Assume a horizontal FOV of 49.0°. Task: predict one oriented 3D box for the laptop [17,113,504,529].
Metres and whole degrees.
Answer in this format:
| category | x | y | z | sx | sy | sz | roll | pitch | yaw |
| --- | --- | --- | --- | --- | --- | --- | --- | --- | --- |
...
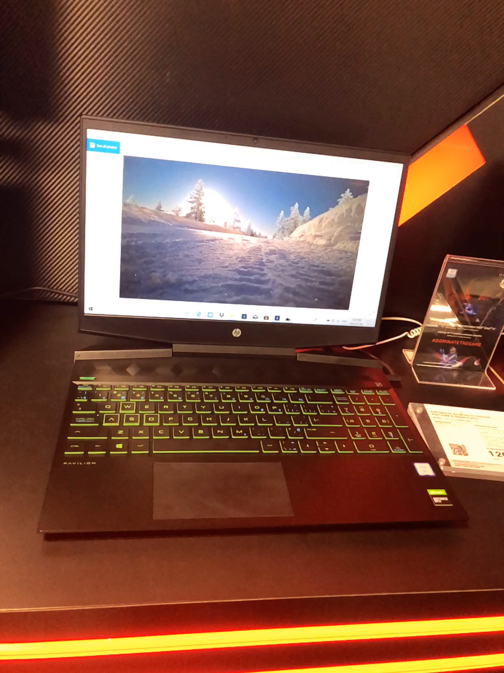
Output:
| category | x | y | z | sx | sy | sz | roll | pitch | yaw |
| --- | --- | --- | --- | --- | --- | --- | --- | --- | --- |
| laptop | 0.008 | -0.038 | 0.526 | 0.355 | 0.240 | 0.316 | 2 | 29 | -10 |
